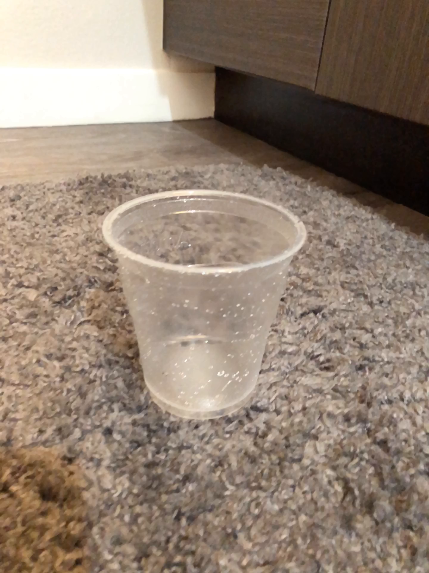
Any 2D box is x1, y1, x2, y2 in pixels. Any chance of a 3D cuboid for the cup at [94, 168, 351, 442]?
[{"bbox_3d":[-0.005,0.003,0.225,0.090,0.090,0.090,4,30,-2],"label":"cup"}]
